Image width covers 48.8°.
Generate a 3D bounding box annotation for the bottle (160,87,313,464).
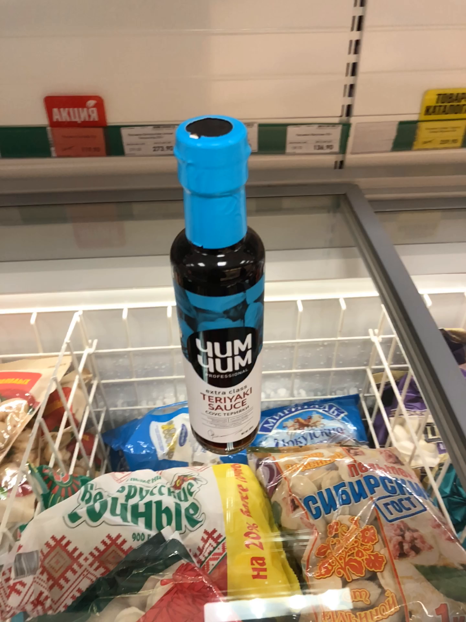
[{"bbox_3d":[-0.002,-0.004,0.295,0.060,0.219,0.060,0,40,0],"label":"bottle"}]
